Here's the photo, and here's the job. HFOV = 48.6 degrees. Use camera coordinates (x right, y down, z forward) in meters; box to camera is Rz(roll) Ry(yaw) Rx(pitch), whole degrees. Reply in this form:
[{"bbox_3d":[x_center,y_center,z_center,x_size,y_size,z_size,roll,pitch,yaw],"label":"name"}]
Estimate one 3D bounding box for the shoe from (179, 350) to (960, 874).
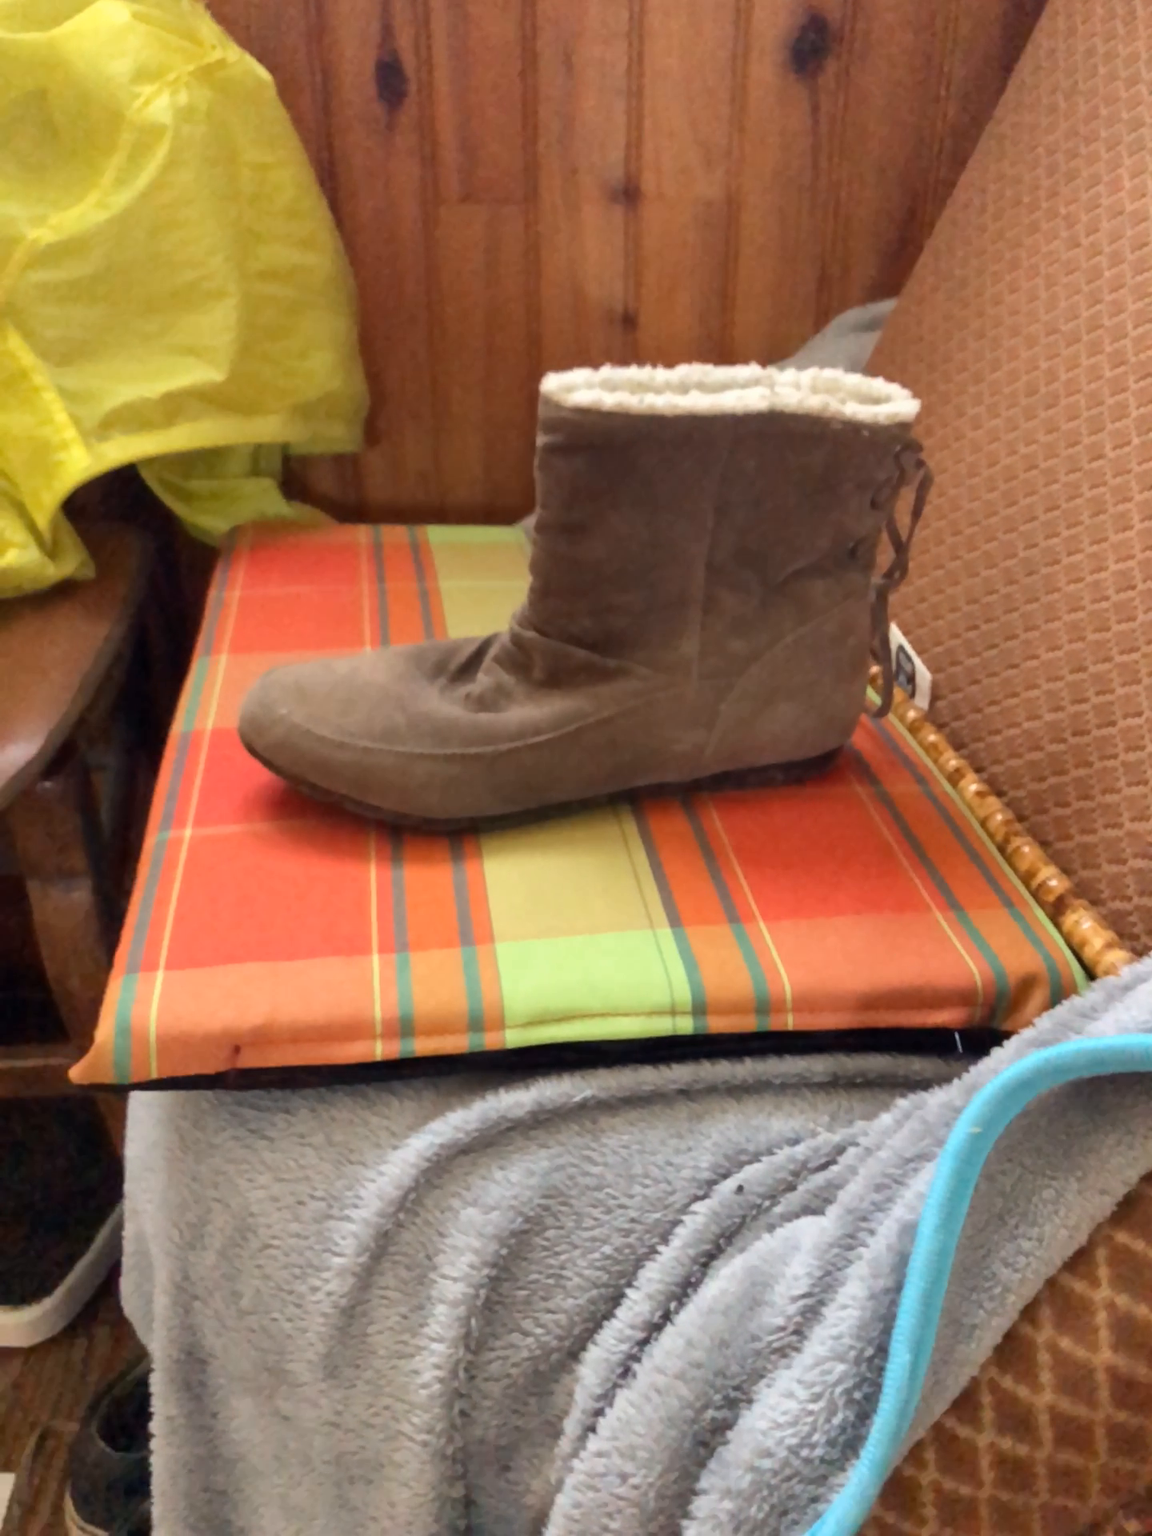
[{"bbox_3d":[-0.005,-0.067,0.498,0.260,0.159,0.100,-5,28,-10],"label":"shoe"}]
